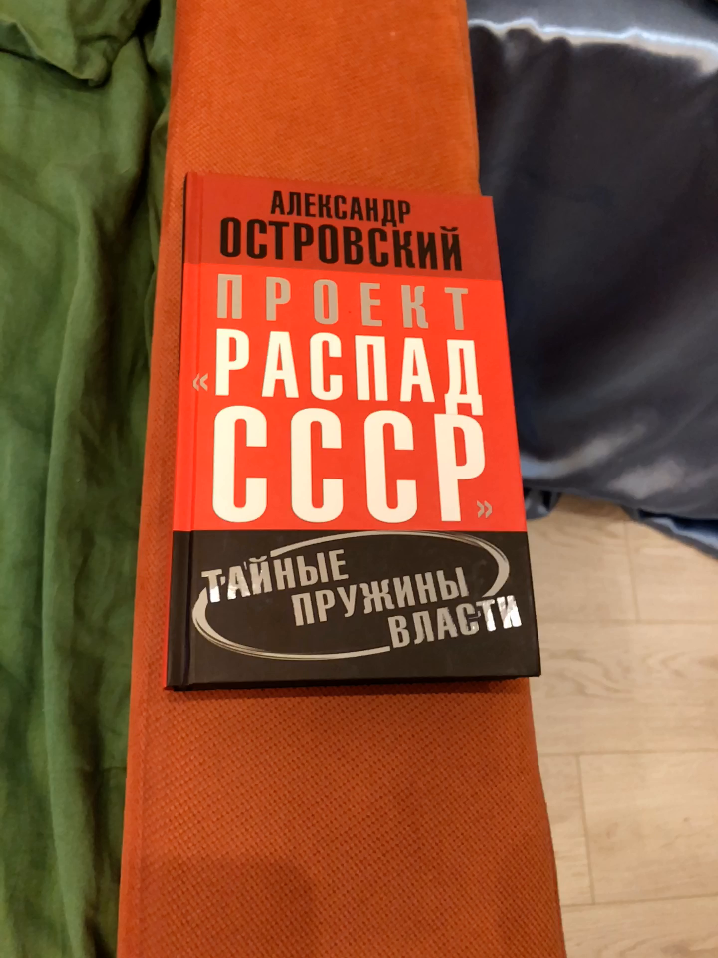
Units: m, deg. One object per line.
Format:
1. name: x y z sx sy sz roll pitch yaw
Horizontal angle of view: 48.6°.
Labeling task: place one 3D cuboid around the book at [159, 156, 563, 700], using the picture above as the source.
1. book: -0.003 -0.024 0.309 0.135 0.030 0.207 1 71 -10
